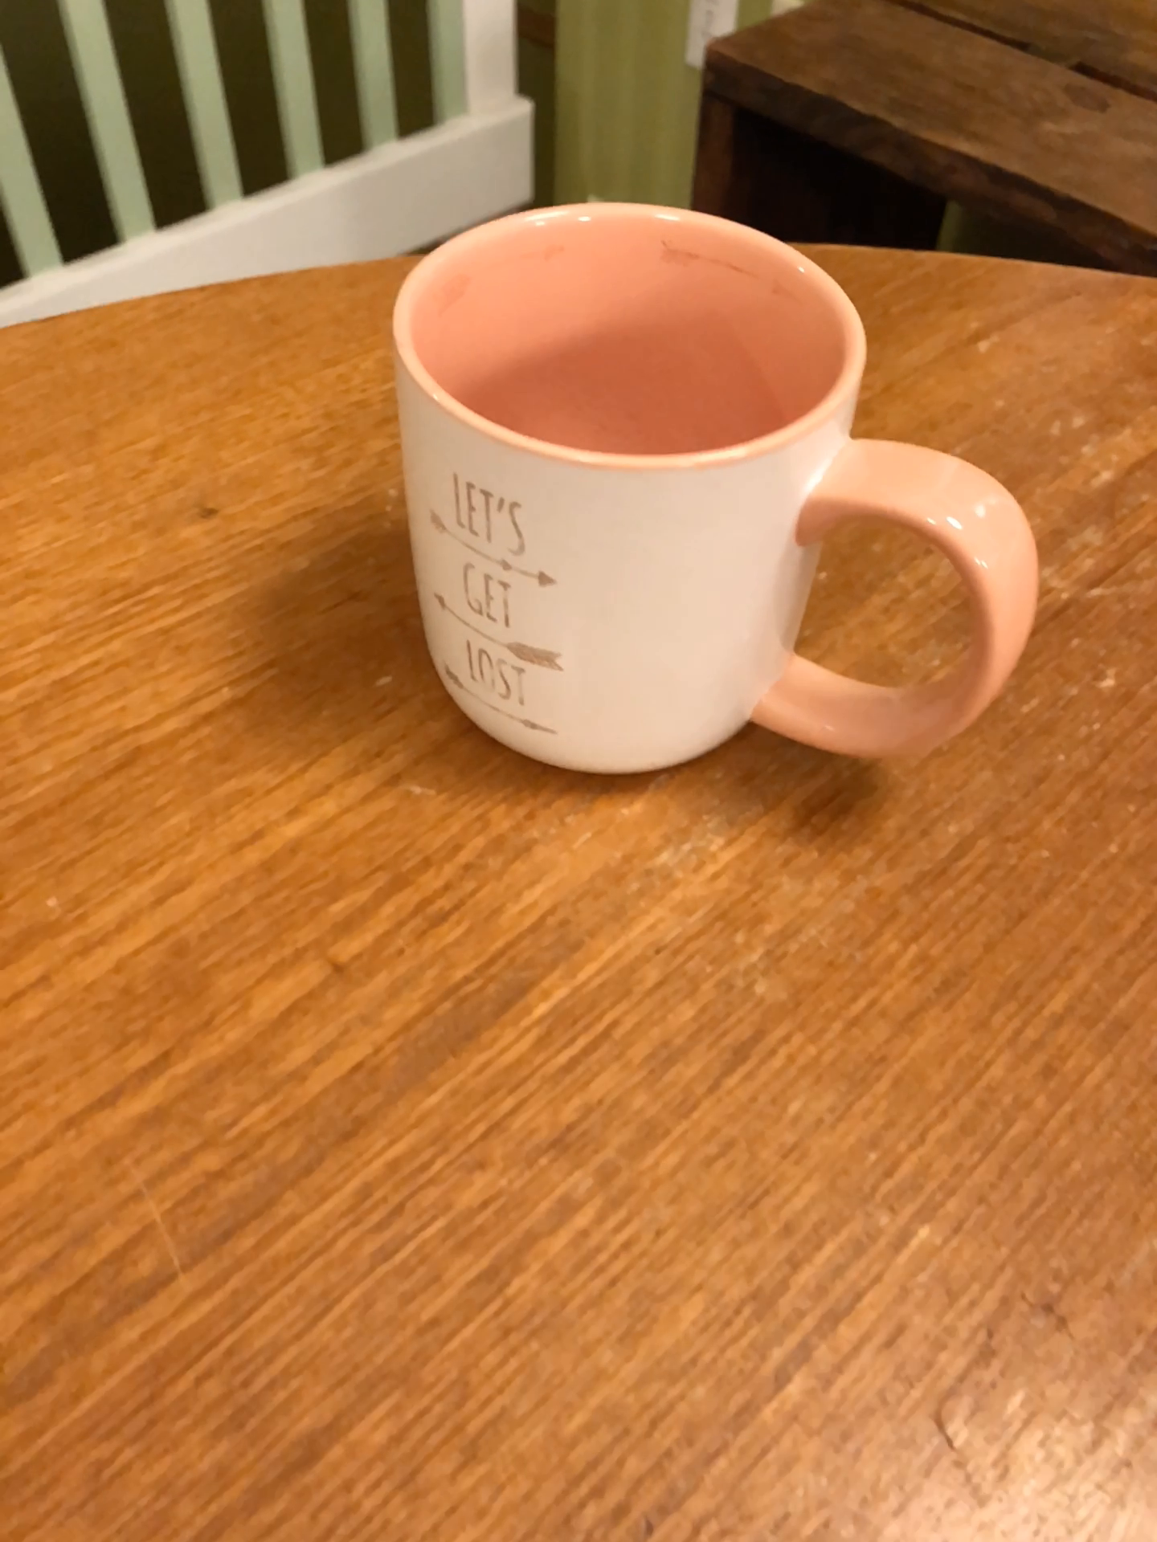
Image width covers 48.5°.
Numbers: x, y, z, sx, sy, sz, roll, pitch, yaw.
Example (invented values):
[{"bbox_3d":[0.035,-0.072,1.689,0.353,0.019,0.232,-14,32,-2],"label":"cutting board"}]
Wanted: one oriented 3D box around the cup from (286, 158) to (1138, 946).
[{"bbox_3d":[0.028,-0.053,0.295,0.144,0.106,0.094,22,52,16],"label":"cup"}]
